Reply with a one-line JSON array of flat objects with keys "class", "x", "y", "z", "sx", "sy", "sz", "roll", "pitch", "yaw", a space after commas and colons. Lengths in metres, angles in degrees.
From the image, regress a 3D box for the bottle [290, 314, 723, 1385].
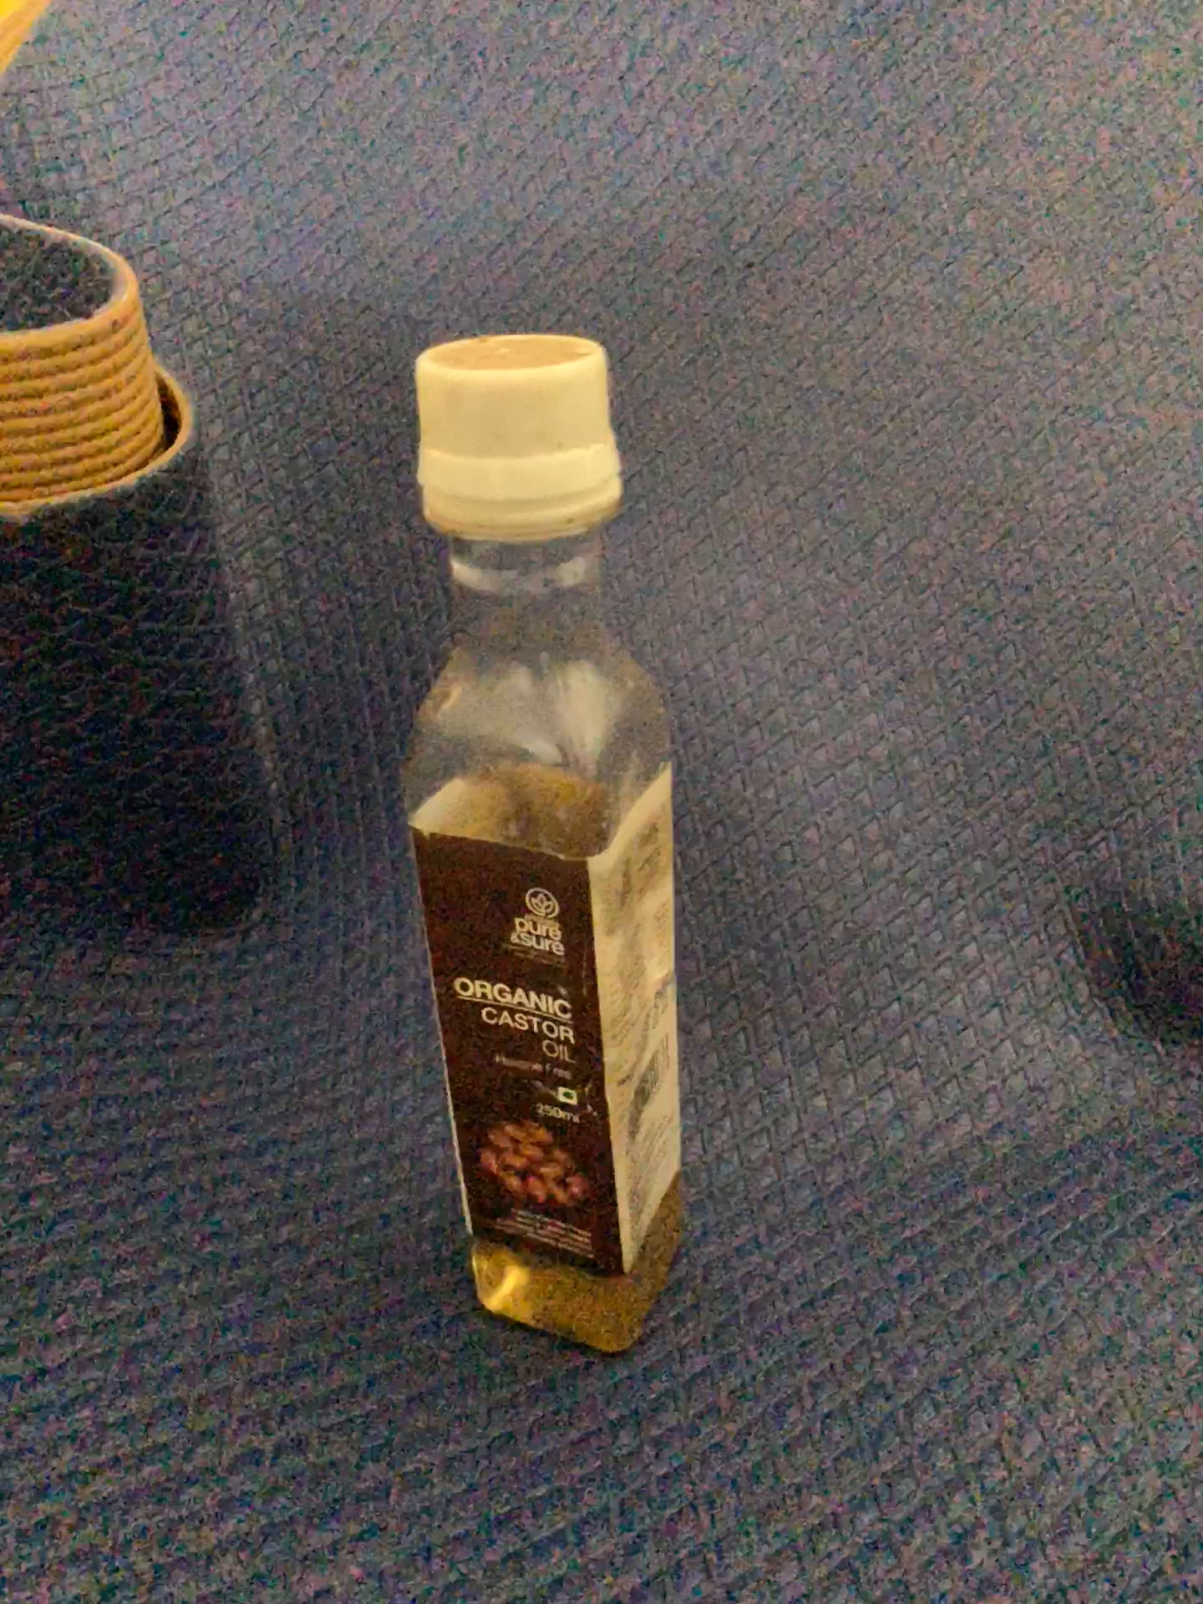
[{"class": "bottle", "x": -0.010, "y": 0.016, "z": 0.239, "sx": 0.050, "sy": 0.198, "sz": 0.050, "roll": -1, "pitch": 27, "yaw": 1}]
